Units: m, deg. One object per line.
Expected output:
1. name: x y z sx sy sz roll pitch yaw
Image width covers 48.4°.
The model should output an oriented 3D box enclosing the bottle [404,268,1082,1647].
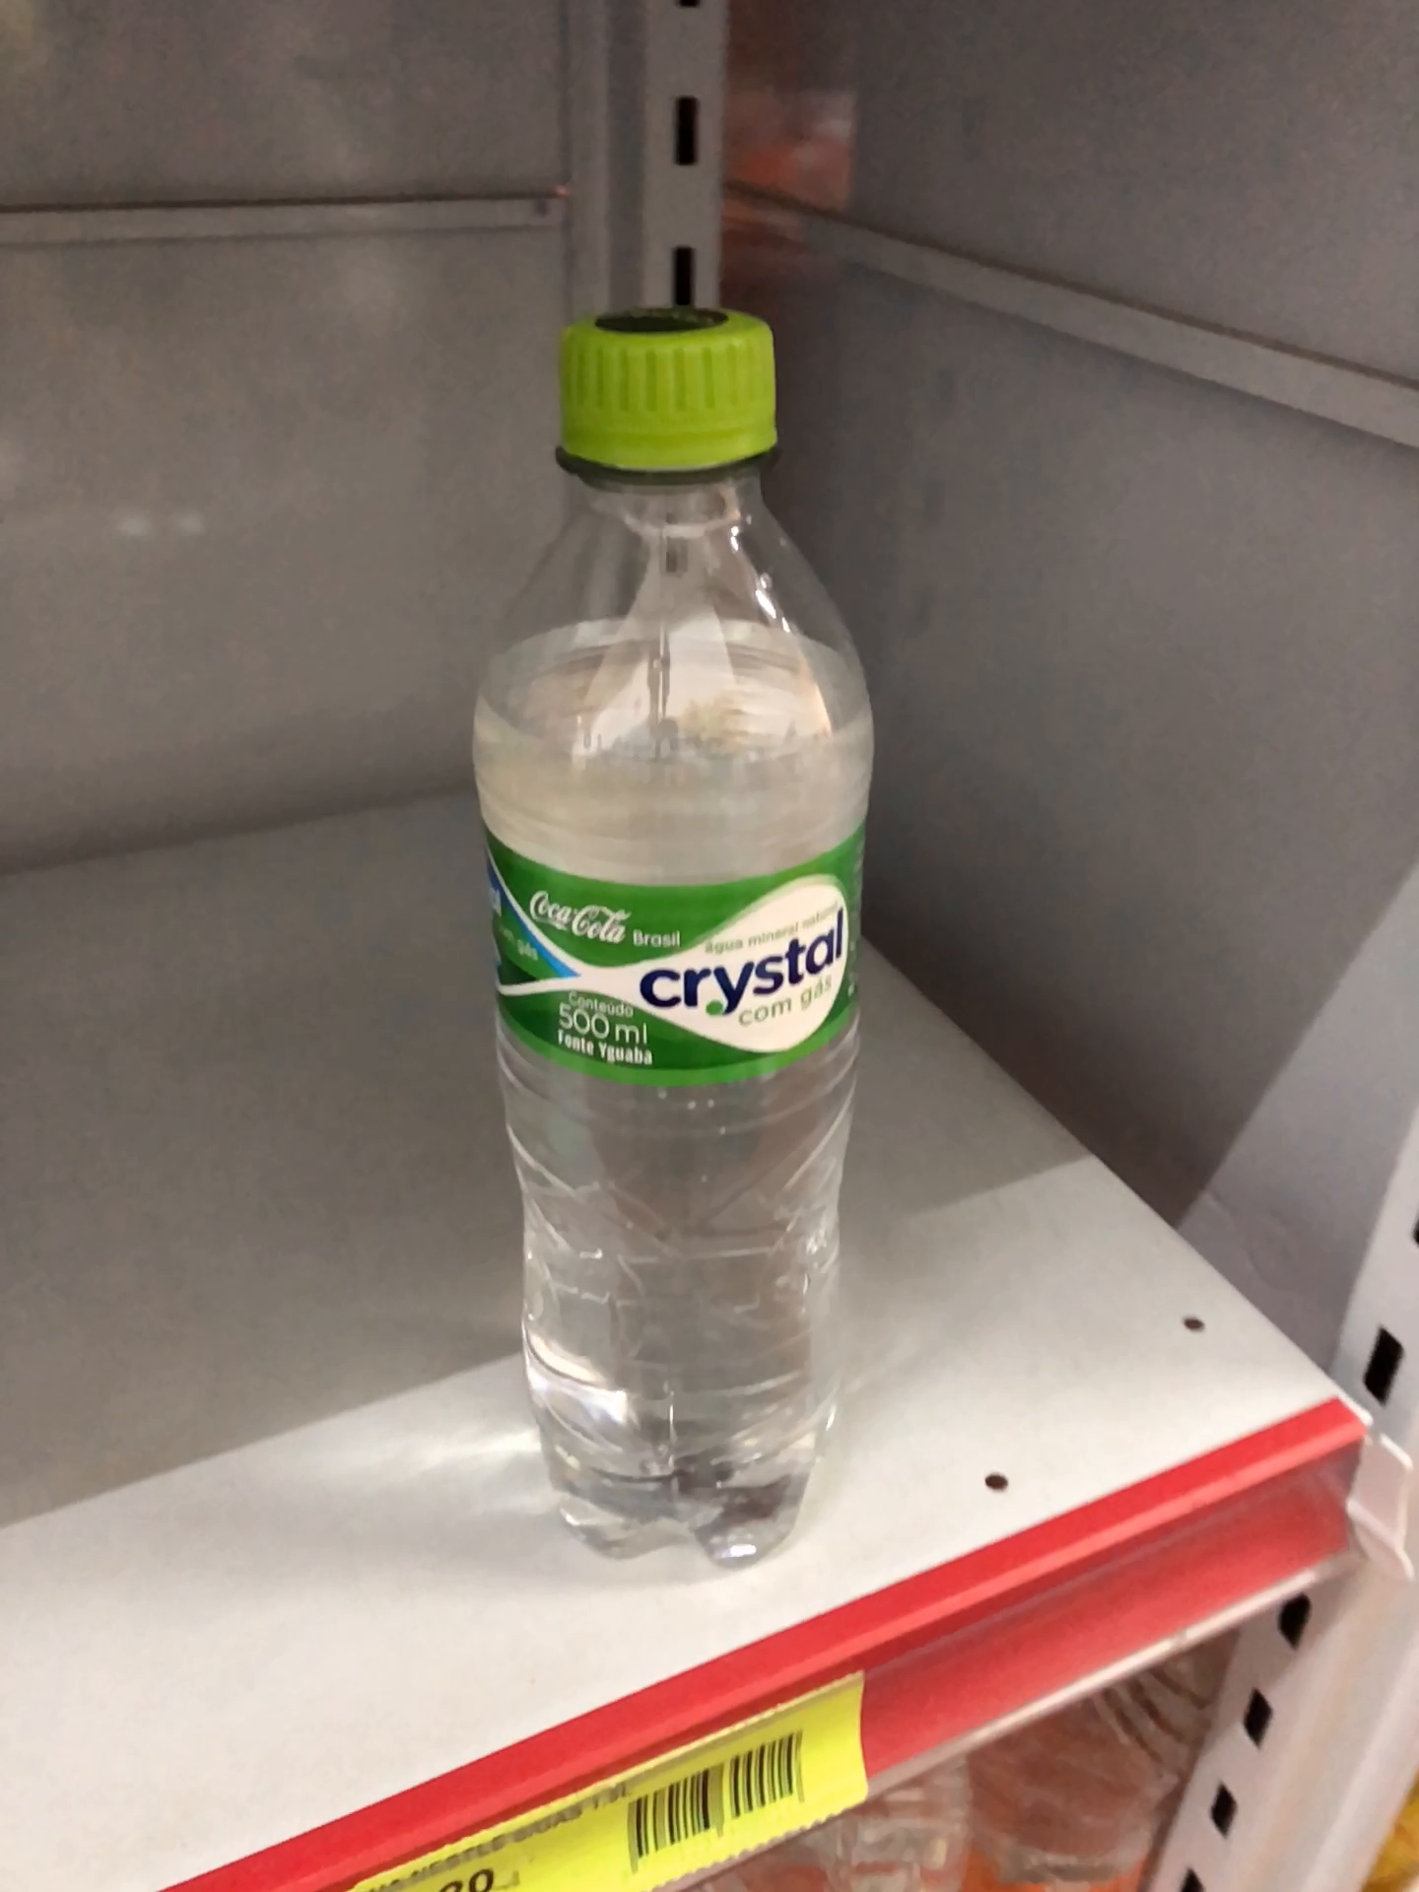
1. bottle: -0.001 0.011 0.262 0.070 0.218 0.060 -11 34 -20
